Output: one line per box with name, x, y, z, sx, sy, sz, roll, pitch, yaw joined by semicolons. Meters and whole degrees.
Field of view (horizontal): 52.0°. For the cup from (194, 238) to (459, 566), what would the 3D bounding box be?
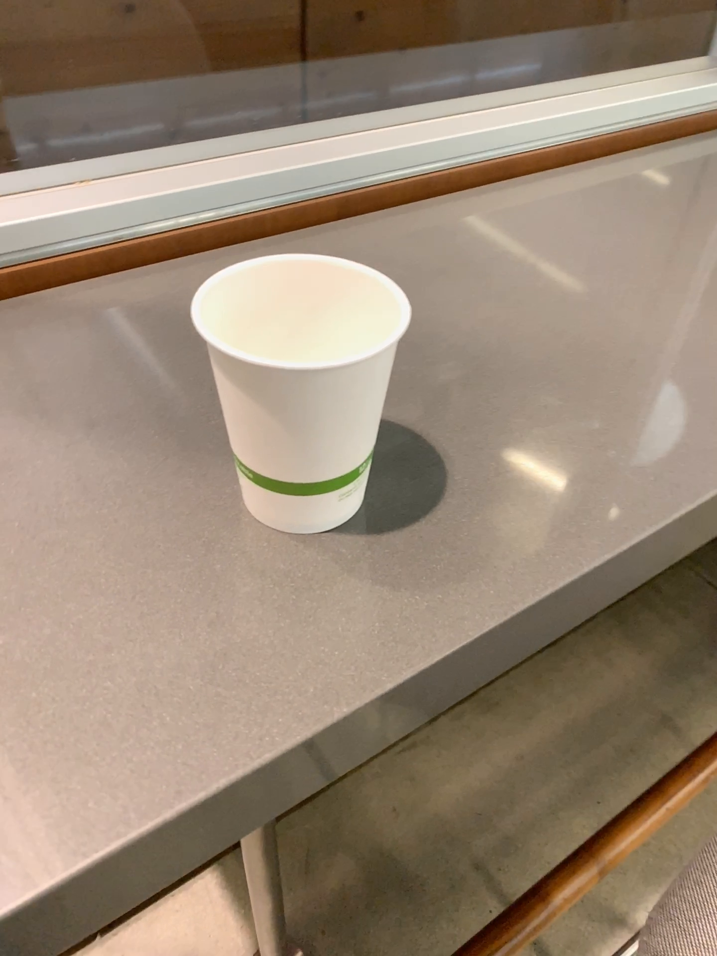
cup;-0.019;-0.034;0.316;0.090;0.099;0.091;1;41;-1
